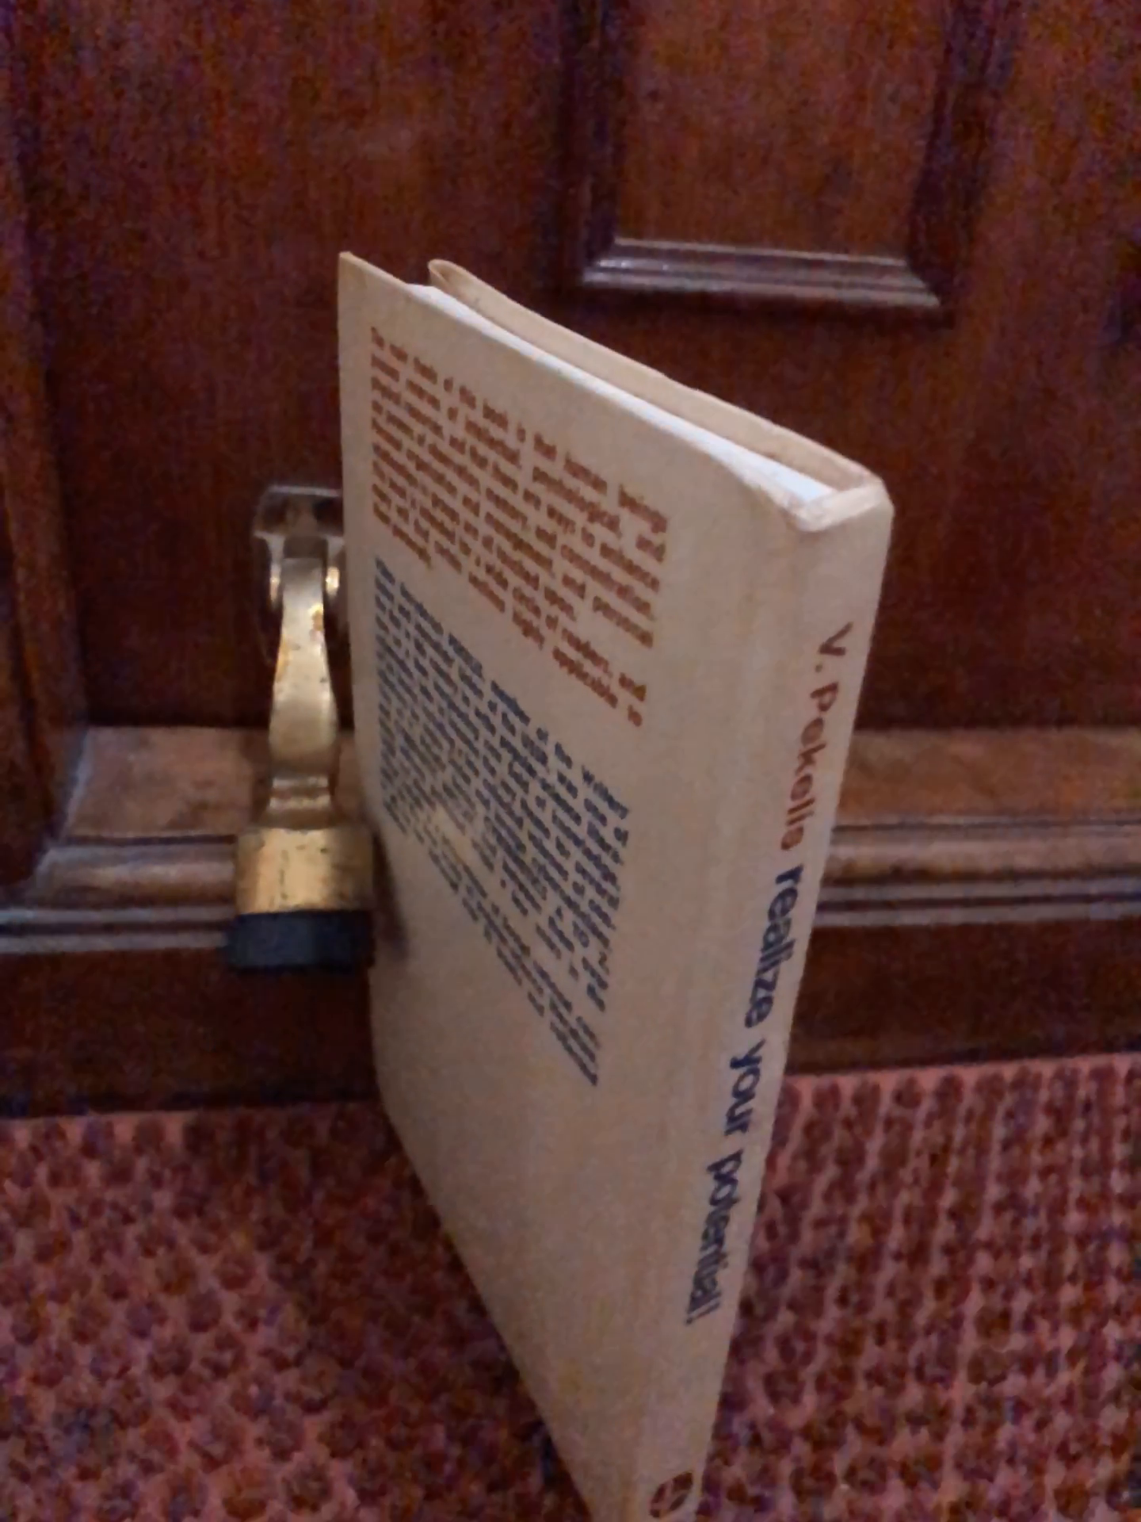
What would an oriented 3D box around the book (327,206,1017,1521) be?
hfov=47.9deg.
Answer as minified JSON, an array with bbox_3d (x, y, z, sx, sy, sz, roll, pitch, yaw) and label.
[{"bbox_3d":[-0.006,0.024,0.234,0.030,0.209,0.151,-10,34,-22],"label":"book"}]
